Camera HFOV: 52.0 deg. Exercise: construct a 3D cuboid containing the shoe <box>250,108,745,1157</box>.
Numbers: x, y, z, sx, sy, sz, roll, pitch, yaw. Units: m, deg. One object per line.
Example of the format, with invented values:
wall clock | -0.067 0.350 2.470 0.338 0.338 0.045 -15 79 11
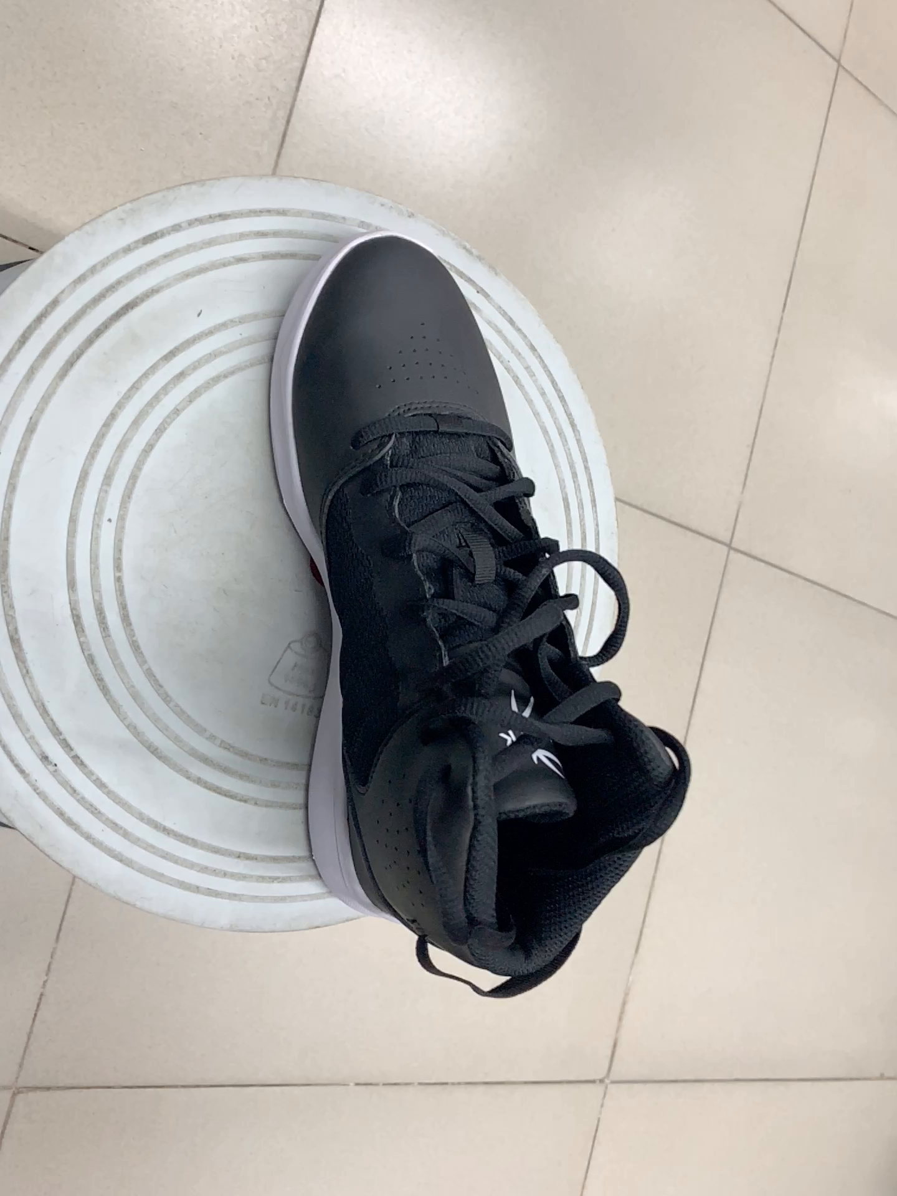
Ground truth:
shoe | 0.012 0.007 0.274 0.090 0.100 0.240 -8 96 -30
